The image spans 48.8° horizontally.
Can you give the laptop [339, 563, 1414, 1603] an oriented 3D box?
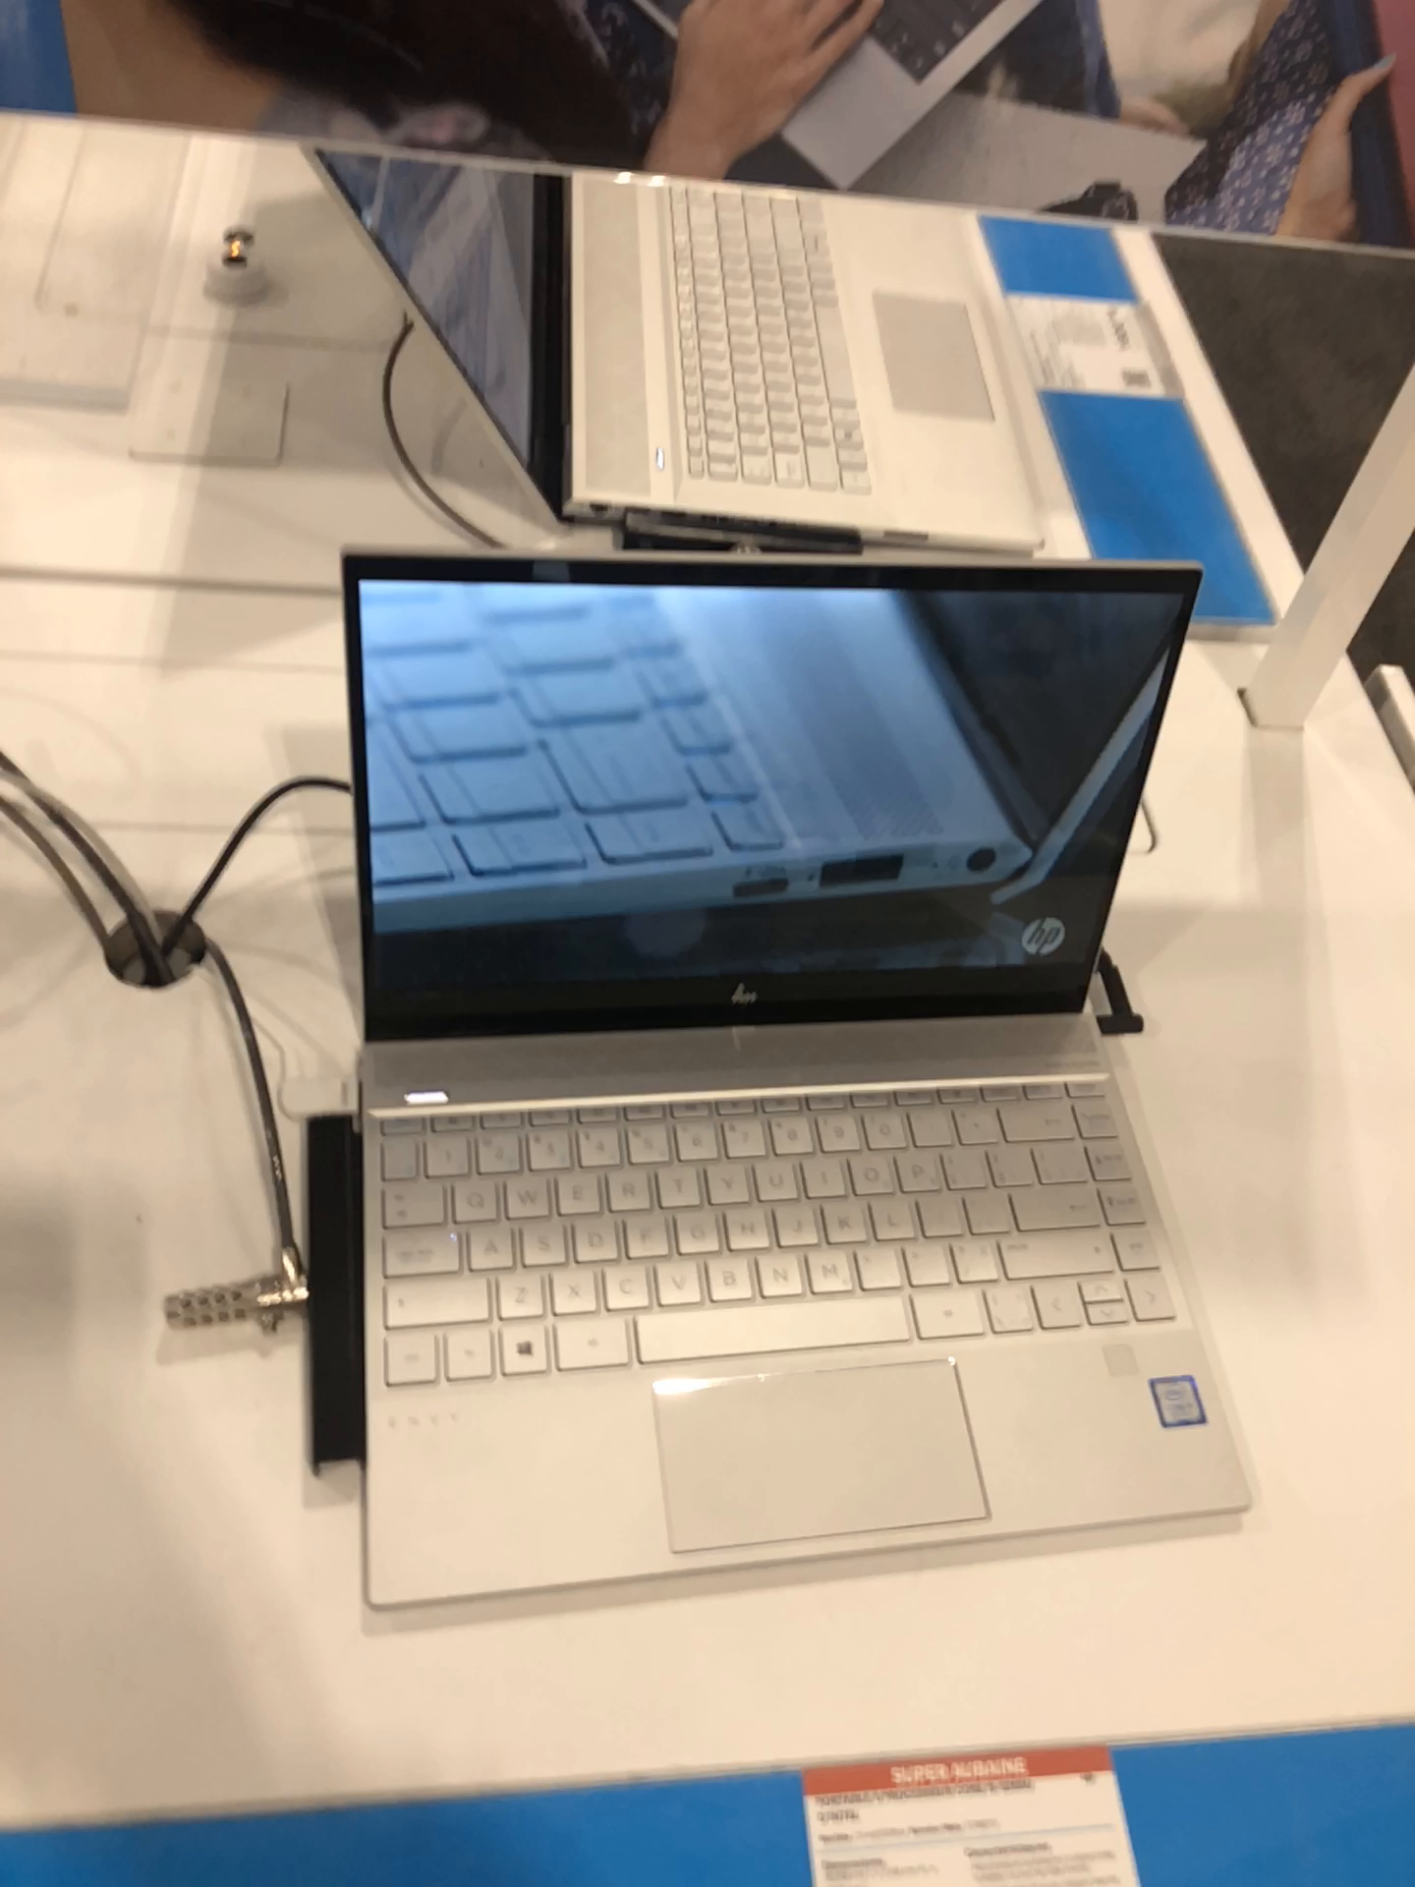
[{"bbox_3d":[0.036,0.036,0.525,0.299,0.182,0.272,-2,55,-12],"label":"laptop"}]
